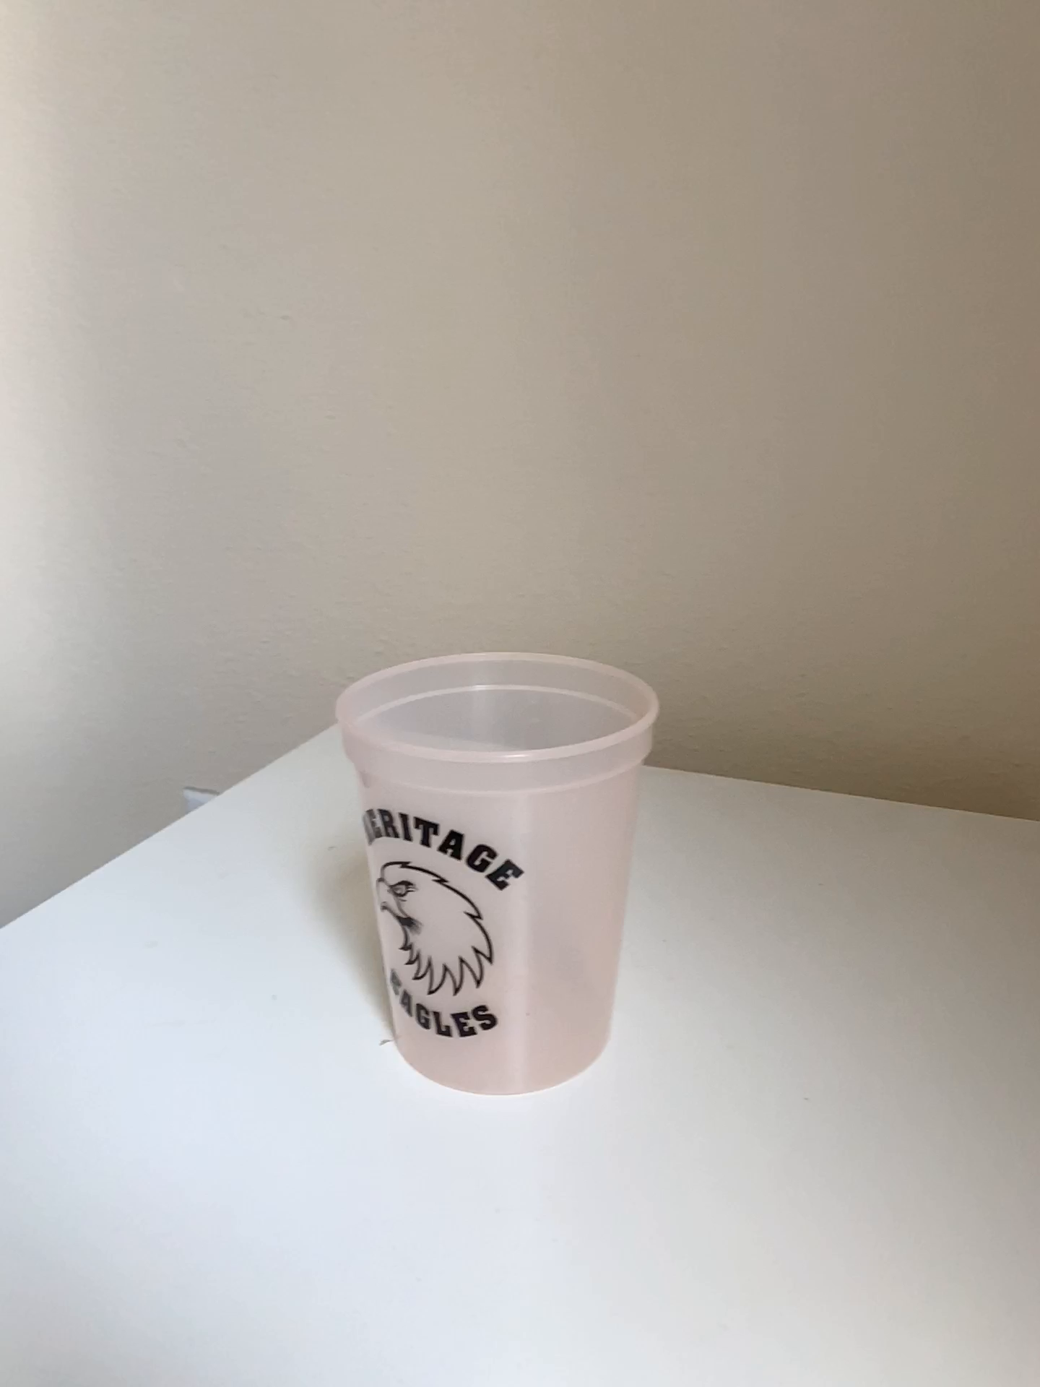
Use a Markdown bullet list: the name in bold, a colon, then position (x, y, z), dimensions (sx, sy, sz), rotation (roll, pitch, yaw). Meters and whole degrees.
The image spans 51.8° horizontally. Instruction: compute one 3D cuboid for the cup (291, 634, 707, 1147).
- **cup**: position (-0.004, 0.050, 0.325), dimensions (0.090, 0.110, 0.080), rotation (12, 22, 34)
